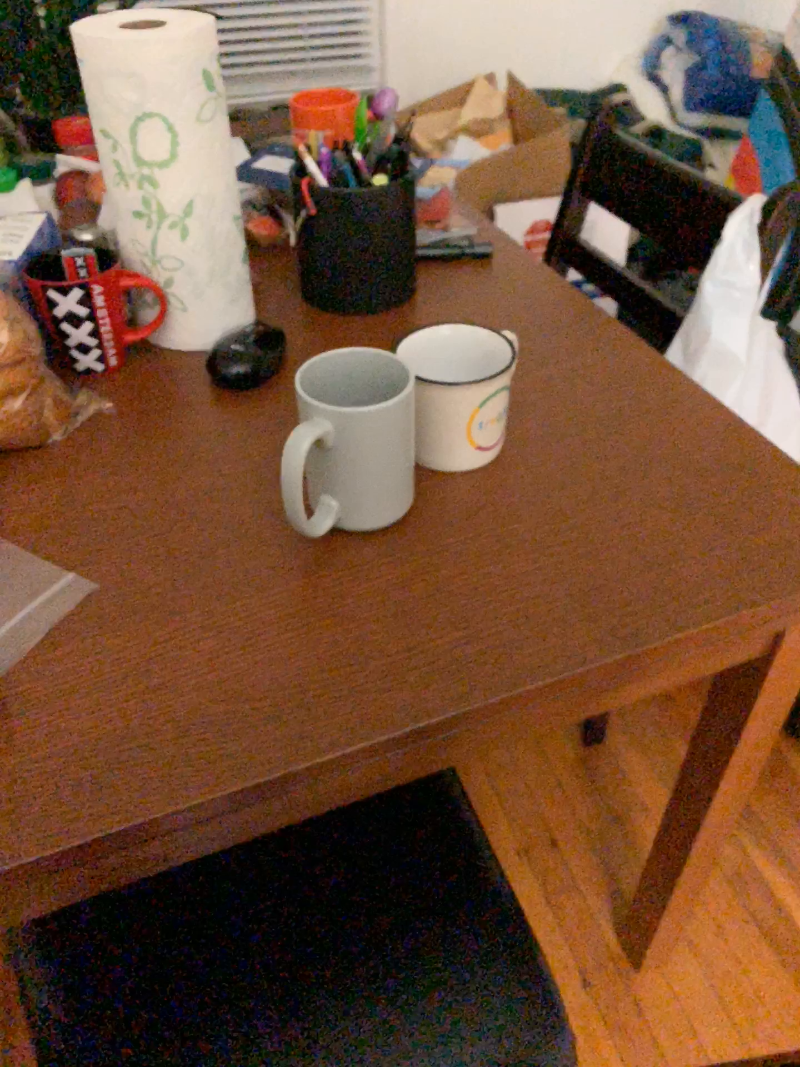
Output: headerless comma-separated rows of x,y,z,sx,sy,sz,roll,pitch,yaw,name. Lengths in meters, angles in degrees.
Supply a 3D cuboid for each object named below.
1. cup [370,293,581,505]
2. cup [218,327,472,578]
0.059,-0.113,0.677,0.130,0.099,0.100,-29,48,-28,cup
-0.036,-0.063,0.595,0.140,0.099,0.100,-29,48,-28,cup
